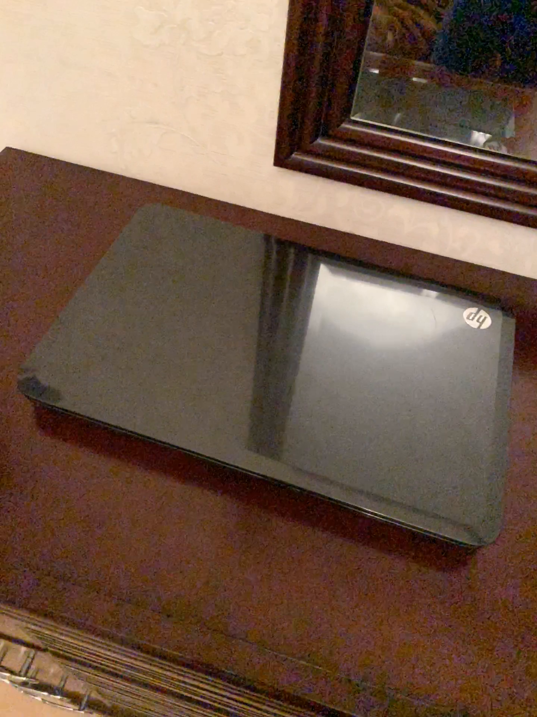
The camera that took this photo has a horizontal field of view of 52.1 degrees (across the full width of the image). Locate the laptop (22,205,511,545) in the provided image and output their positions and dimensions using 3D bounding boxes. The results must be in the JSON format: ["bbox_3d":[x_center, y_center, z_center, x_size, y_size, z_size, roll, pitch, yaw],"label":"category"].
[{"bbox_3d":[0.018,-0.013,0.446,0.344,0.003,0.223,17,54,7],"label":"laptop"}]
